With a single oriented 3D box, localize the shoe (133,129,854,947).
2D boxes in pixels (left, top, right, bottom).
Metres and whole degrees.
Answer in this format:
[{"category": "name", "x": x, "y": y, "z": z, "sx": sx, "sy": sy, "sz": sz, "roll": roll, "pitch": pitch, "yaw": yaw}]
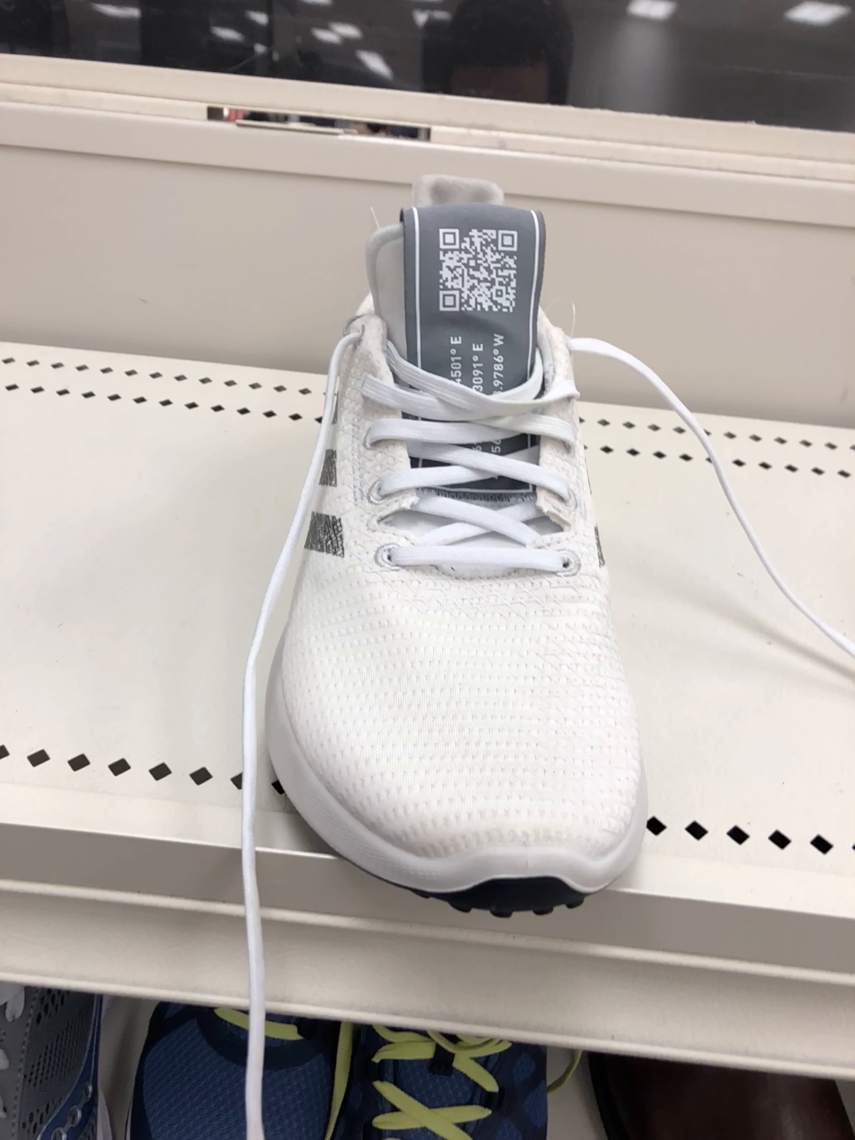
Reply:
[{"category": "shoe", "x": 0.004, "y": -0.069, "z": 0.349, "sx": 0.128, "sy": 0.139, "sz": 0.383, "roll": 3, "pitch": 28, "yaw": -5}]
